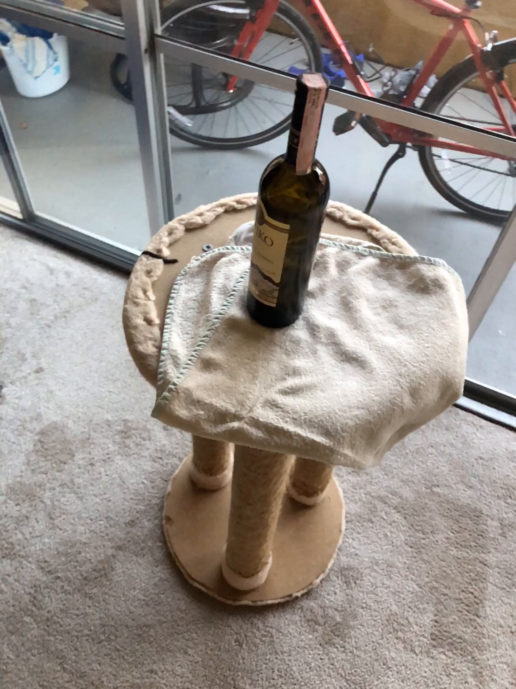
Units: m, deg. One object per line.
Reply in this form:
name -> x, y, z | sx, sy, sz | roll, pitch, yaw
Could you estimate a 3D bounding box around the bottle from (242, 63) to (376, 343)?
bottle -> 0.035, -0.120, 0.558 | 0.080, 0.269, 0.080 | 2, 52, -3
